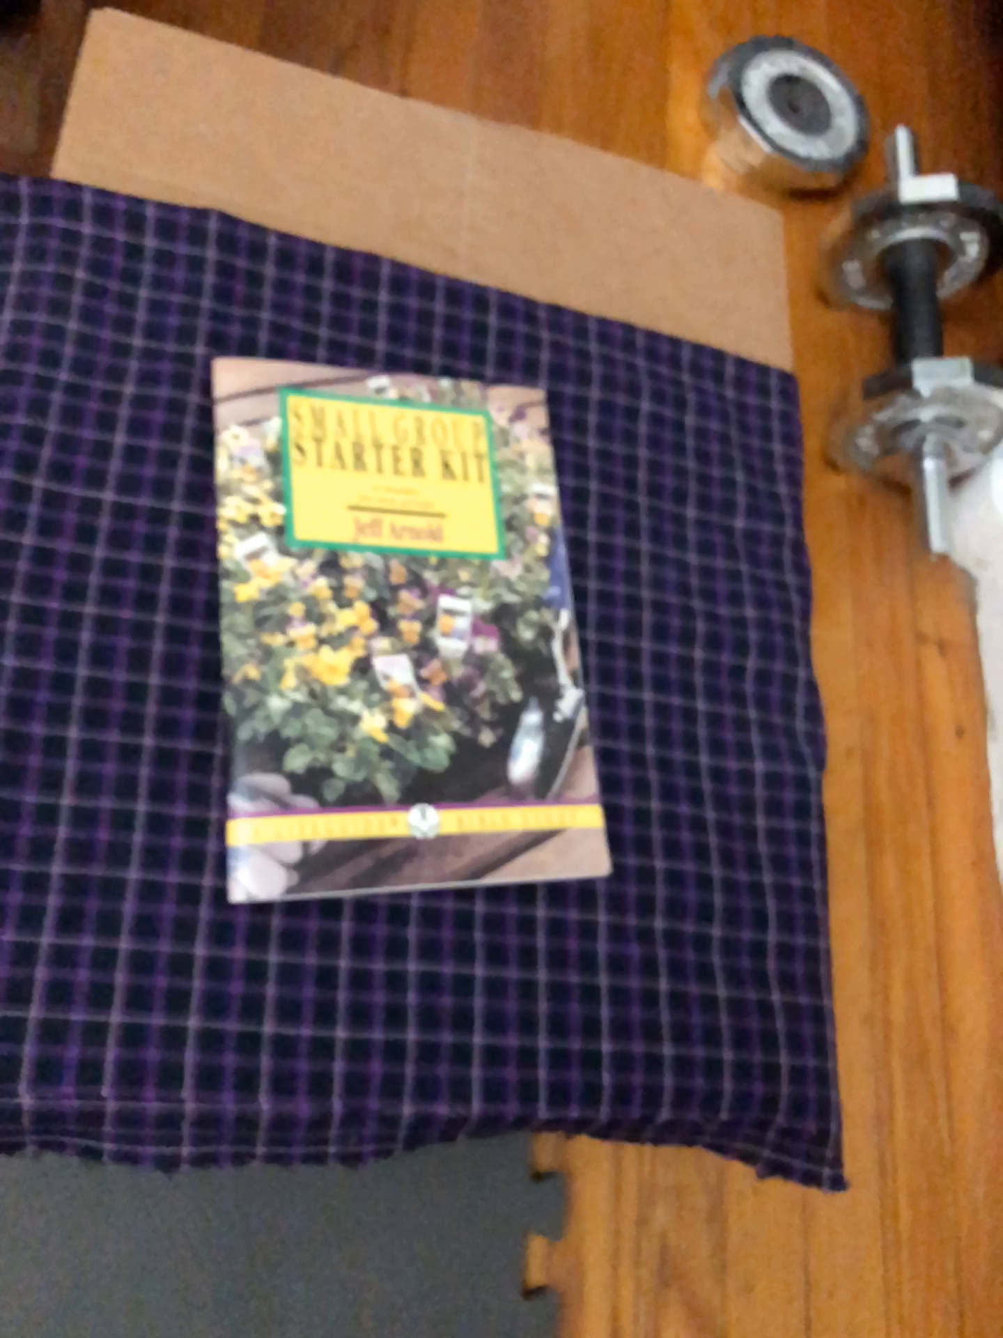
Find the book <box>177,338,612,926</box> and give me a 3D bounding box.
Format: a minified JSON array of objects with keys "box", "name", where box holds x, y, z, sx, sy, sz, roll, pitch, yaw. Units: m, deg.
[{"box":[-0.043,-0.021,0.426,0.150,0.010,0.220,0,71,-20],"name":"book"}]
